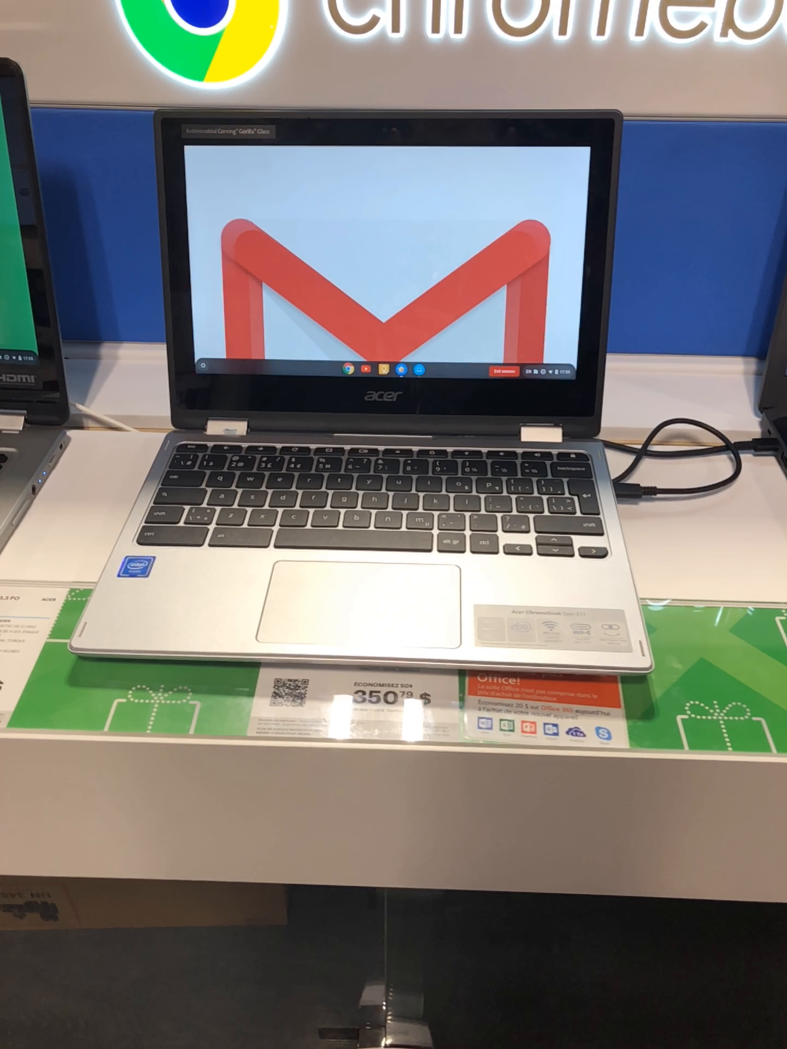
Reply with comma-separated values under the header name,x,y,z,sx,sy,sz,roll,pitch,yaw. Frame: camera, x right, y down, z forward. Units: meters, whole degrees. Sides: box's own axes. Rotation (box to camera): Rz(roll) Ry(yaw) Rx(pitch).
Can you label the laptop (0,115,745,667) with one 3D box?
name,x,y,z,sx,sy,sz,roll,pitch,yaw
laptop,-0.012,-0.090,0.477,0.284,0.181,0.274,2,39,2
